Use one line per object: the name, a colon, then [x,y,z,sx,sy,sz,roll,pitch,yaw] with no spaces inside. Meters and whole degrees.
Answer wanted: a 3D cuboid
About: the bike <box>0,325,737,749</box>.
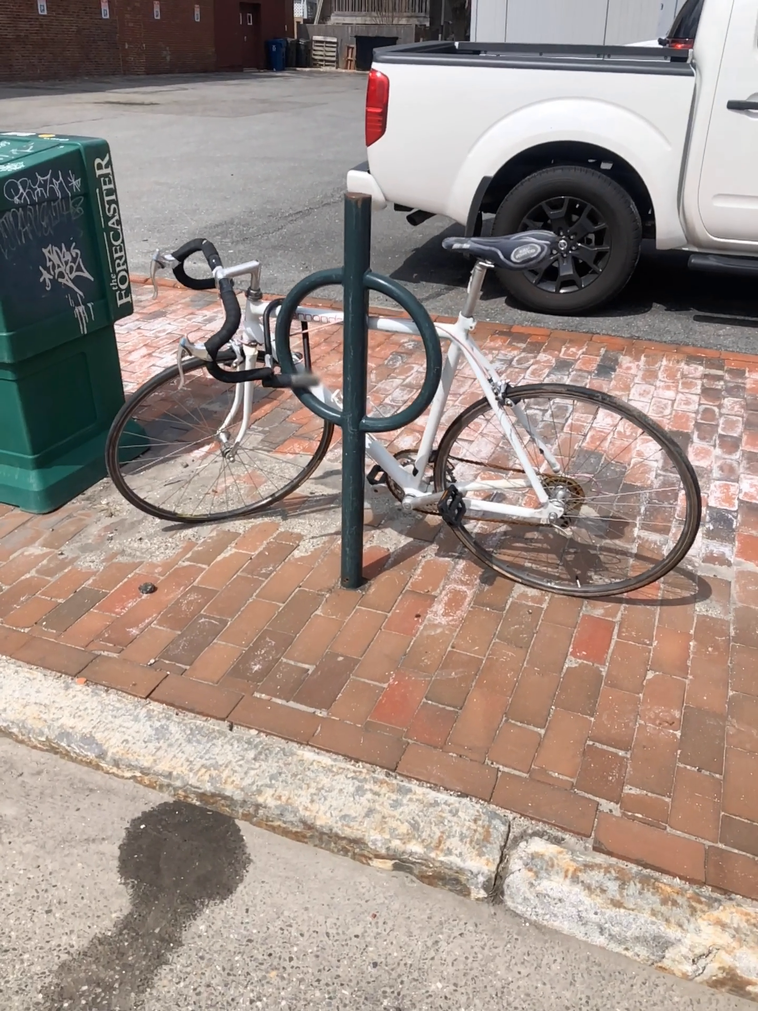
bike: [-0.023,0.024,1.682,1.273,0.650,0.467,4,29,12]
